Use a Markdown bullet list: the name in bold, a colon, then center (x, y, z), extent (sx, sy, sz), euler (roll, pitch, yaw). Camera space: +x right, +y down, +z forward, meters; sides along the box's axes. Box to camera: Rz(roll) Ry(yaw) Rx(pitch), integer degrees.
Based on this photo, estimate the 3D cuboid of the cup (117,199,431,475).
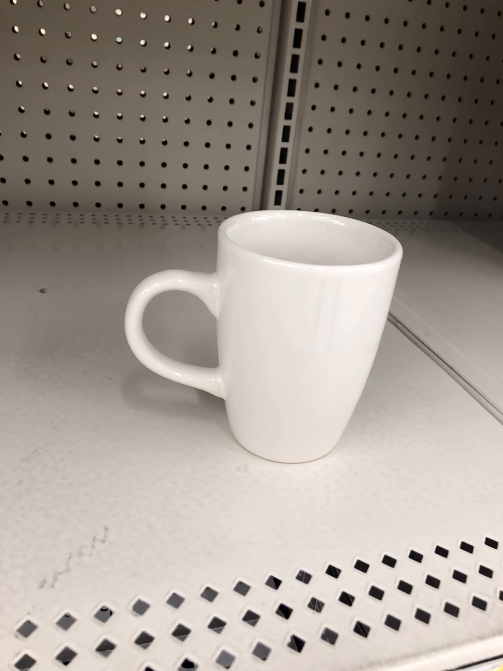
- **cup**: center (0.003, -0.001, 0.279), extent (0.125, 0.106, 0.081), euler (3, 27, -6)
